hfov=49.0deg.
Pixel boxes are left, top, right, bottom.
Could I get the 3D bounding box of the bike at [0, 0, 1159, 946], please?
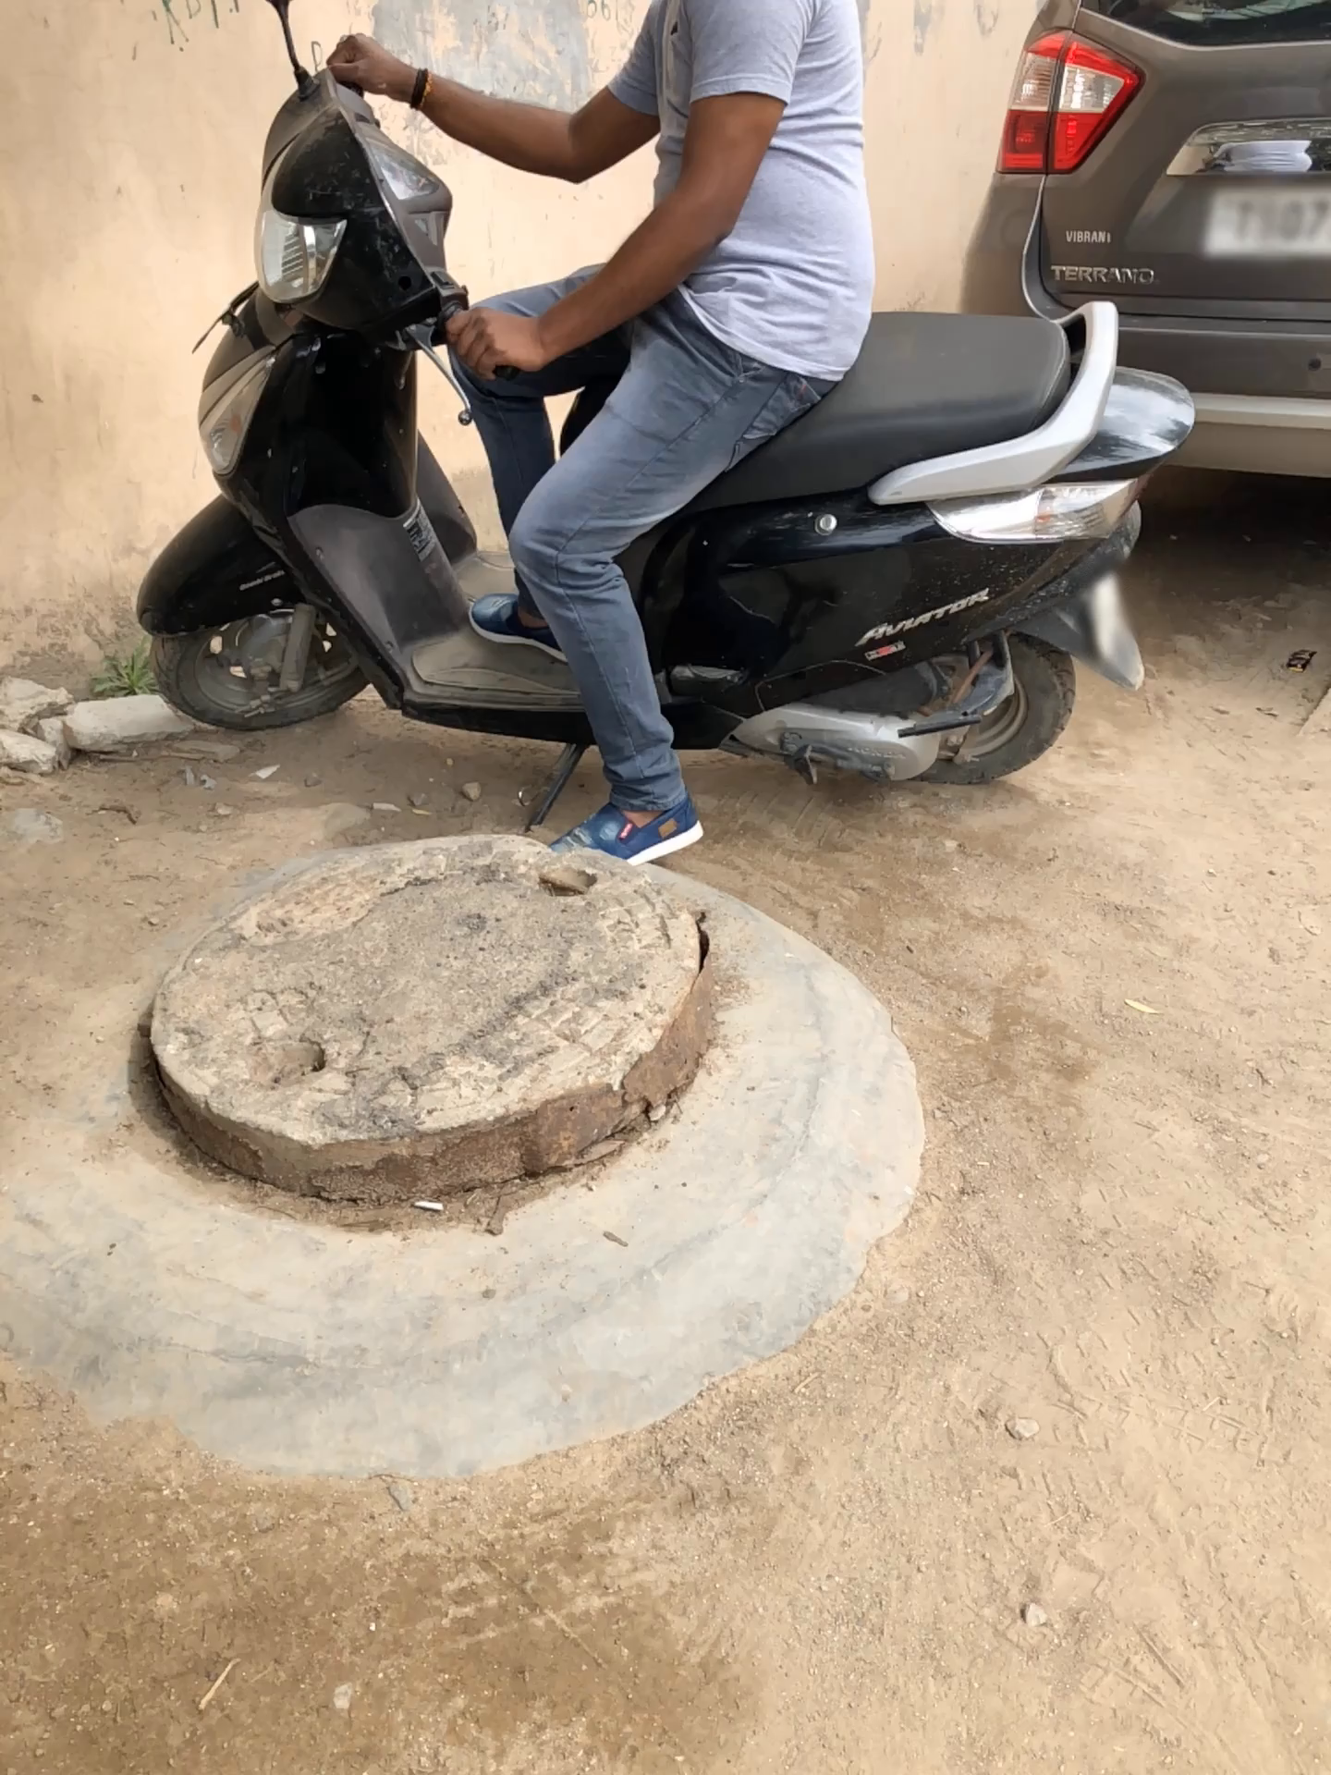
[{"bbox_3d":[-0.180,-0.648,2.264,1.650,1.229,0.656,2,29,7],"label":"bike"}]
